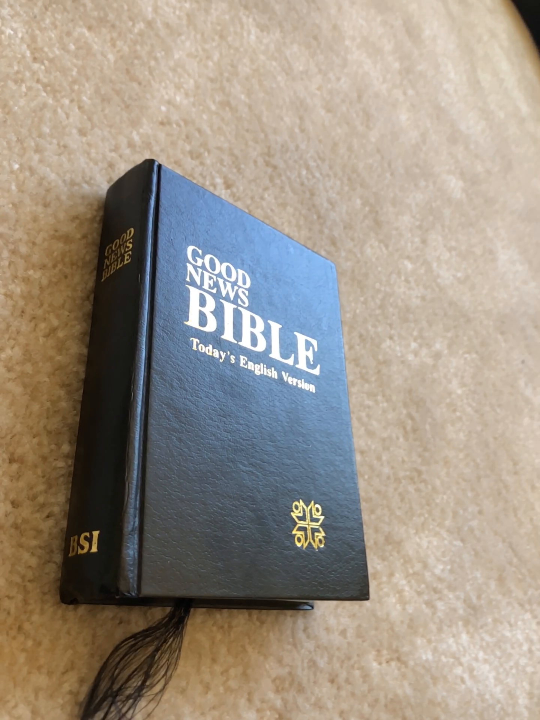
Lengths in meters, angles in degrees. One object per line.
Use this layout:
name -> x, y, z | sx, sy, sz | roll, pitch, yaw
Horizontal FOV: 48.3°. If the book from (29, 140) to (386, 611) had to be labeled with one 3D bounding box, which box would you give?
book -> -0.017, 0.013, 0.243 | 0.124, 0.040, 0.160 | 21, 55, -39
